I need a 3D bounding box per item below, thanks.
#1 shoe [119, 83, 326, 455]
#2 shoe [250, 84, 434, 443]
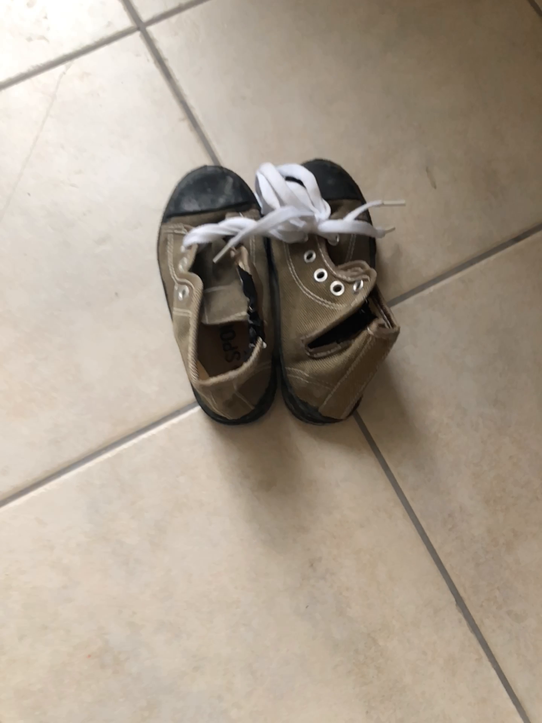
[{"bbox_3d":[-0.030,-0.050,0.387,0.080,0.110,0.200,-11,78,-2],"label":"shoe"},{"bbox_3d":[0.037,-0.055,0.395,0.080,0.110,0.200,-6,77,-1],"label":"shoe"}]
